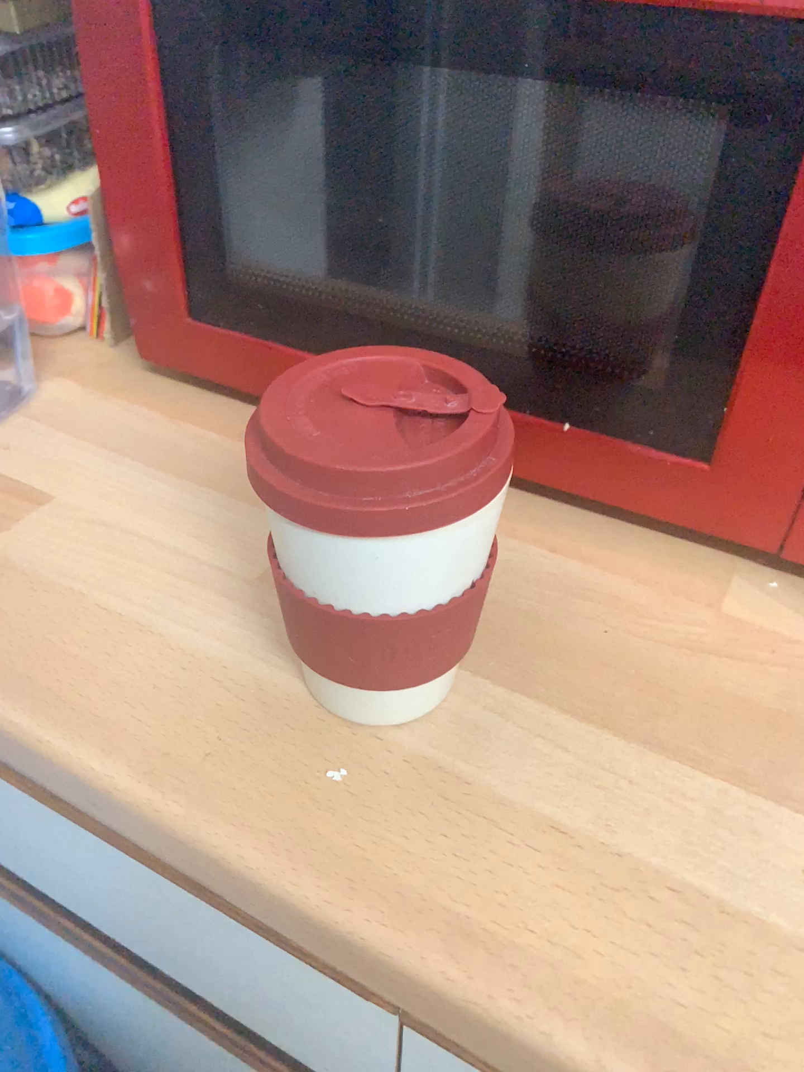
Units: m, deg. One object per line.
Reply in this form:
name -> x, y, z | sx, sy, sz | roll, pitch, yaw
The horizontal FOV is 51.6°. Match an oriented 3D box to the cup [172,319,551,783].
cup -> -0.010, 0.003, 0.294 | 0.087, 0.115, 0.087 | 1, 39, -1
